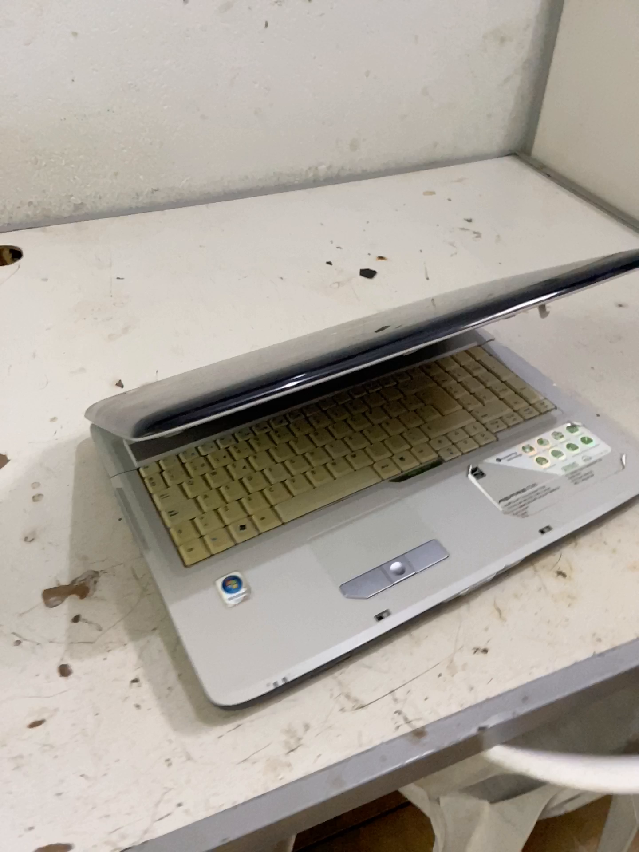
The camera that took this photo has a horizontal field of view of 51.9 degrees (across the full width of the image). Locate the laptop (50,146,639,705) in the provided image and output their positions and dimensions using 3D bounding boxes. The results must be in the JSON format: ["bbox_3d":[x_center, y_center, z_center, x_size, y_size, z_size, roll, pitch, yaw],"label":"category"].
[{"bbox_3d":[0.043,-0.046,0.488,0.381,0.164,0.279,-21,45,-21],"label":"laptop"}]
